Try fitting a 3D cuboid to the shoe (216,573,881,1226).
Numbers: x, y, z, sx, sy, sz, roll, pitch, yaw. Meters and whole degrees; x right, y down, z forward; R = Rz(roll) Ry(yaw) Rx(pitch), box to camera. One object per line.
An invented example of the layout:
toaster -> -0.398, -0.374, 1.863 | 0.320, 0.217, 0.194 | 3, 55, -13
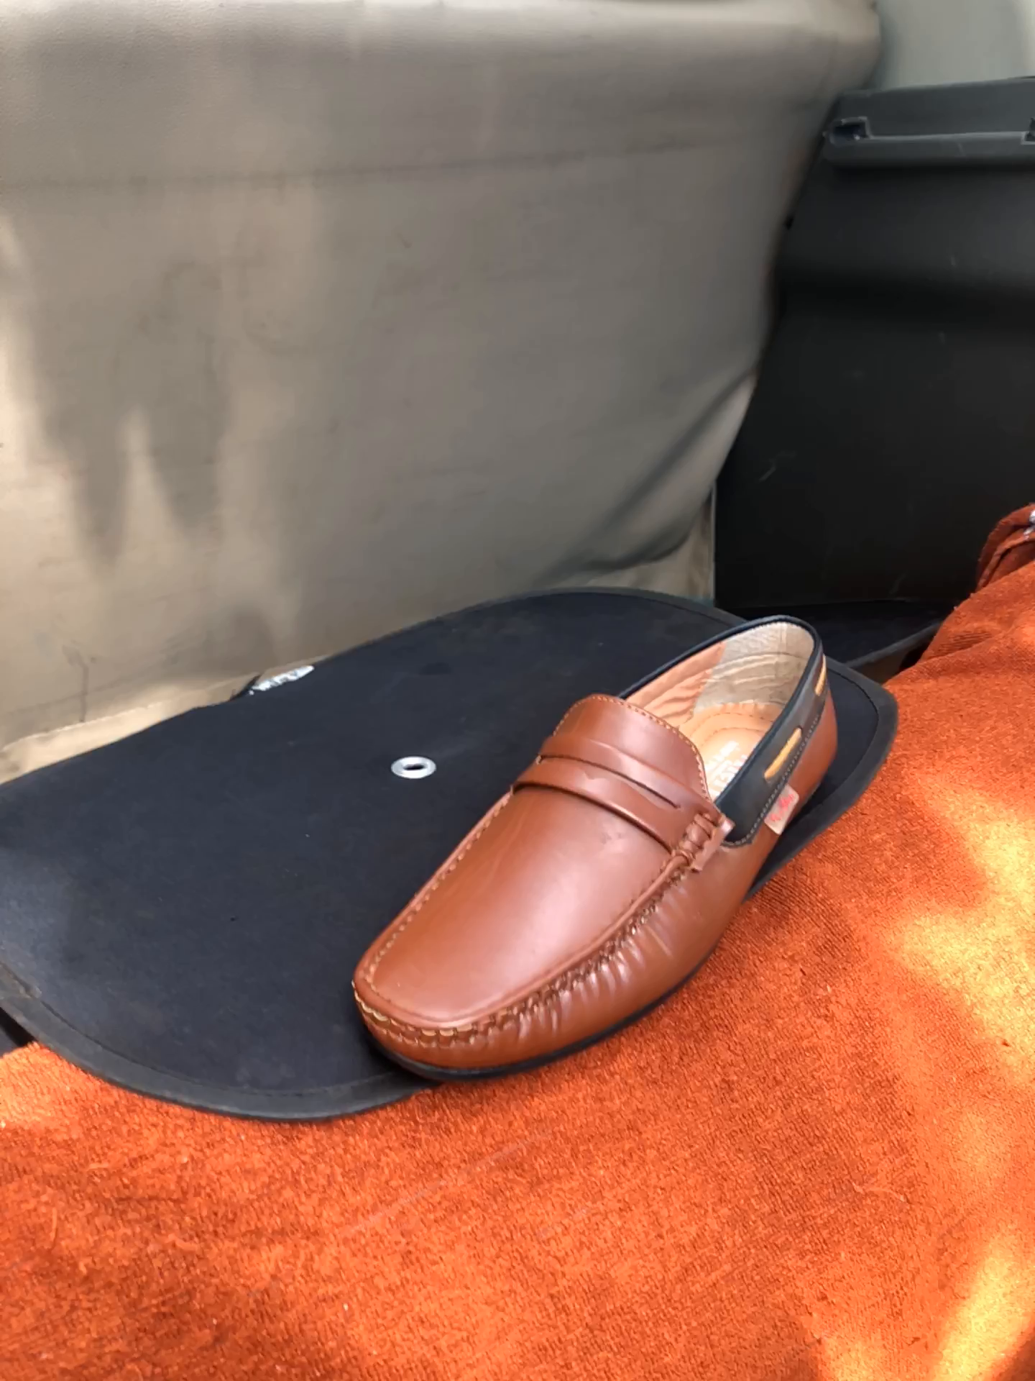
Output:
shoe -> 0.034, 0.050, 0.444 | 0.110, 0.070, 0.282 | 16, 36, 32
